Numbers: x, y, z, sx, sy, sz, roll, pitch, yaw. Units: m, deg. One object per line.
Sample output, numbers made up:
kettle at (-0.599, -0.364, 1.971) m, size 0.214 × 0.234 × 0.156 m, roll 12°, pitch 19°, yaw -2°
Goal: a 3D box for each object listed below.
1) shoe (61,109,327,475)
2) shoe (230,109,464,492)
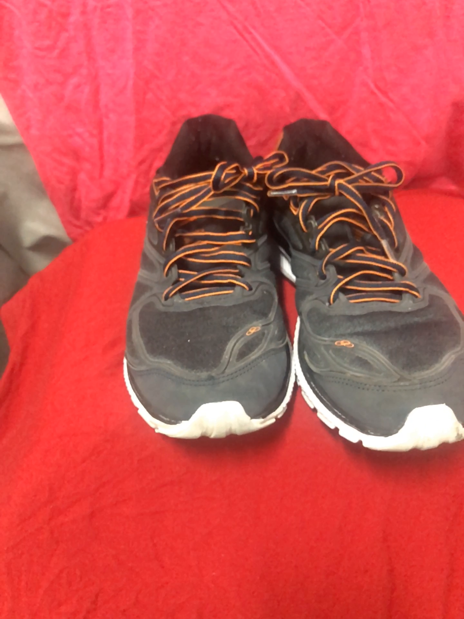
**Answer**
shoe at (-0.013, -0.040, 0.350) m, size 0.110 × 0.089 × 0.283 m, roll -3°, pitch 39°, yaw 2°
shoe at (0.075, -0.037, 0.356) m, size 0.110 × 0.099 × 0.283 m, roll -8°, pitch 39°, yaw -3°
